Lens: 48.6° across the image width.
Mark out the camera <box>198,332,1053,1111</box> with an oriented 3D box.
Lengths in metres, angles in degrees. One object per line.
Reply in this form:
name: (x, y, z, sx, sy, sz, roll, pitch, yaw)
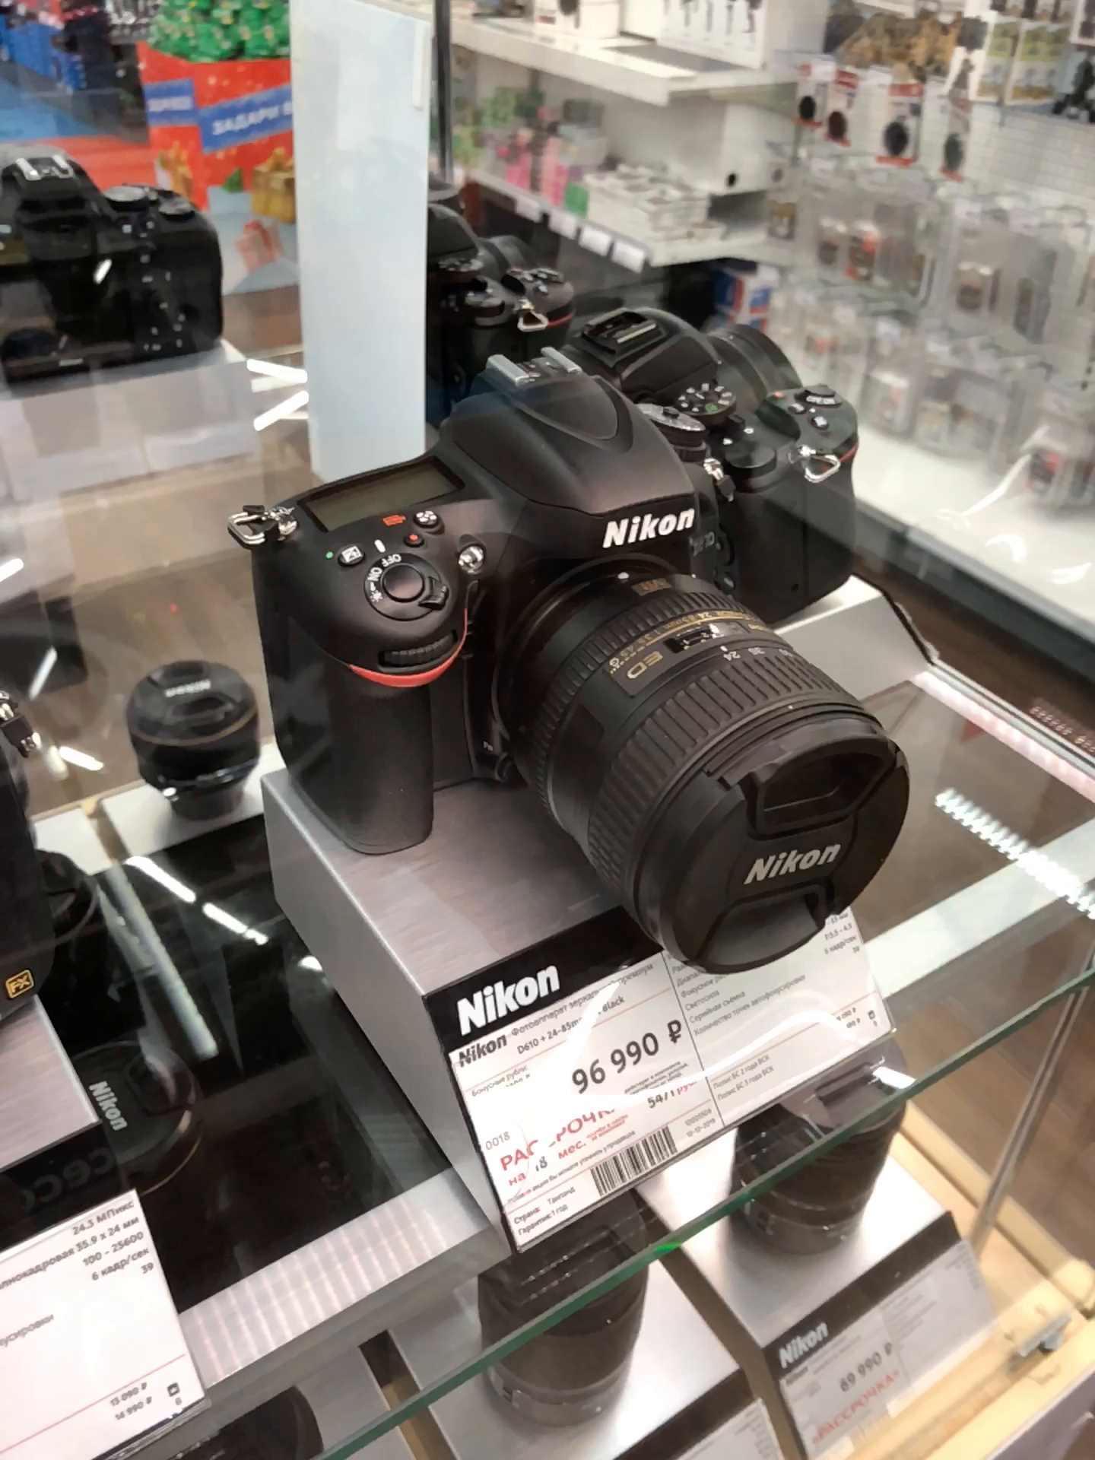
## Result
camera: (0.008, -0.018, 0.320, 0.148, 0.109, 0.151, -15, 40, -22)
